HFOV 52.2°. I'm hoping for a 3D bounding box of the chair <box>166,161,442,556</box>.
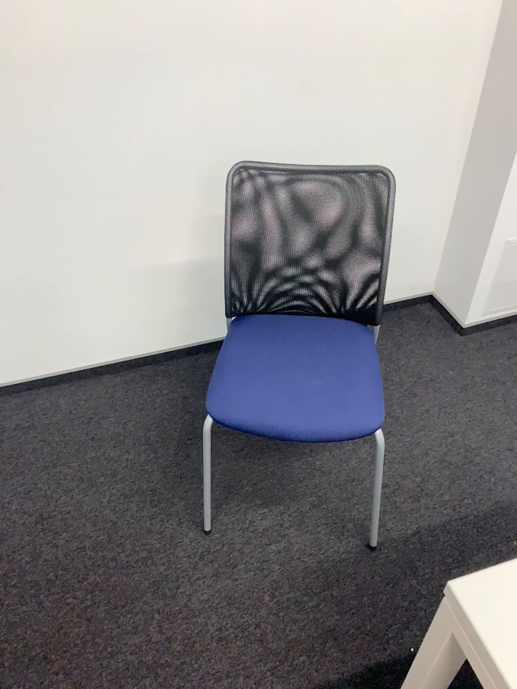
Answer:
[{"bbox_3d":[0.117,0.046,1.439,0.490,0.865,0.593,4,40,6],"label":"chair"}]
